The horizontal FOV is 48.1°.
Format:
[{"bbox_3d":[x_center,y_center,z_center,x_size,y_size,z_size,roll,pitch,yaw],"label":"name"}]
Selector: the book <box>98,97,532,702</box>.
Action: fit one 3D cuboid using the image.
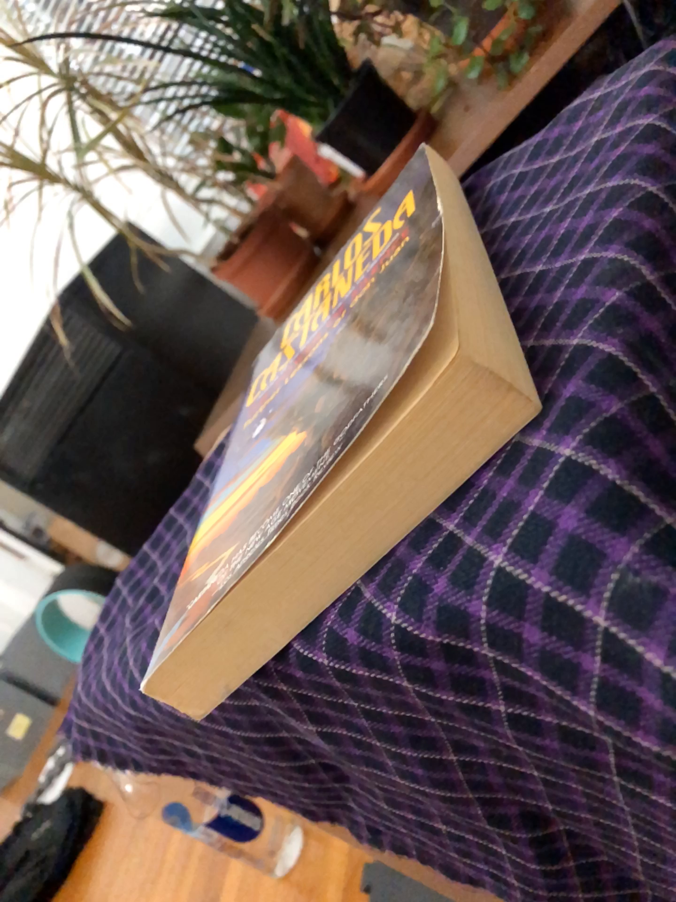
[{"bbox_3d":[-0.008,-0.040,0.276,0.150,0.020,0.221,-46,20,28],"label":"book"}]
